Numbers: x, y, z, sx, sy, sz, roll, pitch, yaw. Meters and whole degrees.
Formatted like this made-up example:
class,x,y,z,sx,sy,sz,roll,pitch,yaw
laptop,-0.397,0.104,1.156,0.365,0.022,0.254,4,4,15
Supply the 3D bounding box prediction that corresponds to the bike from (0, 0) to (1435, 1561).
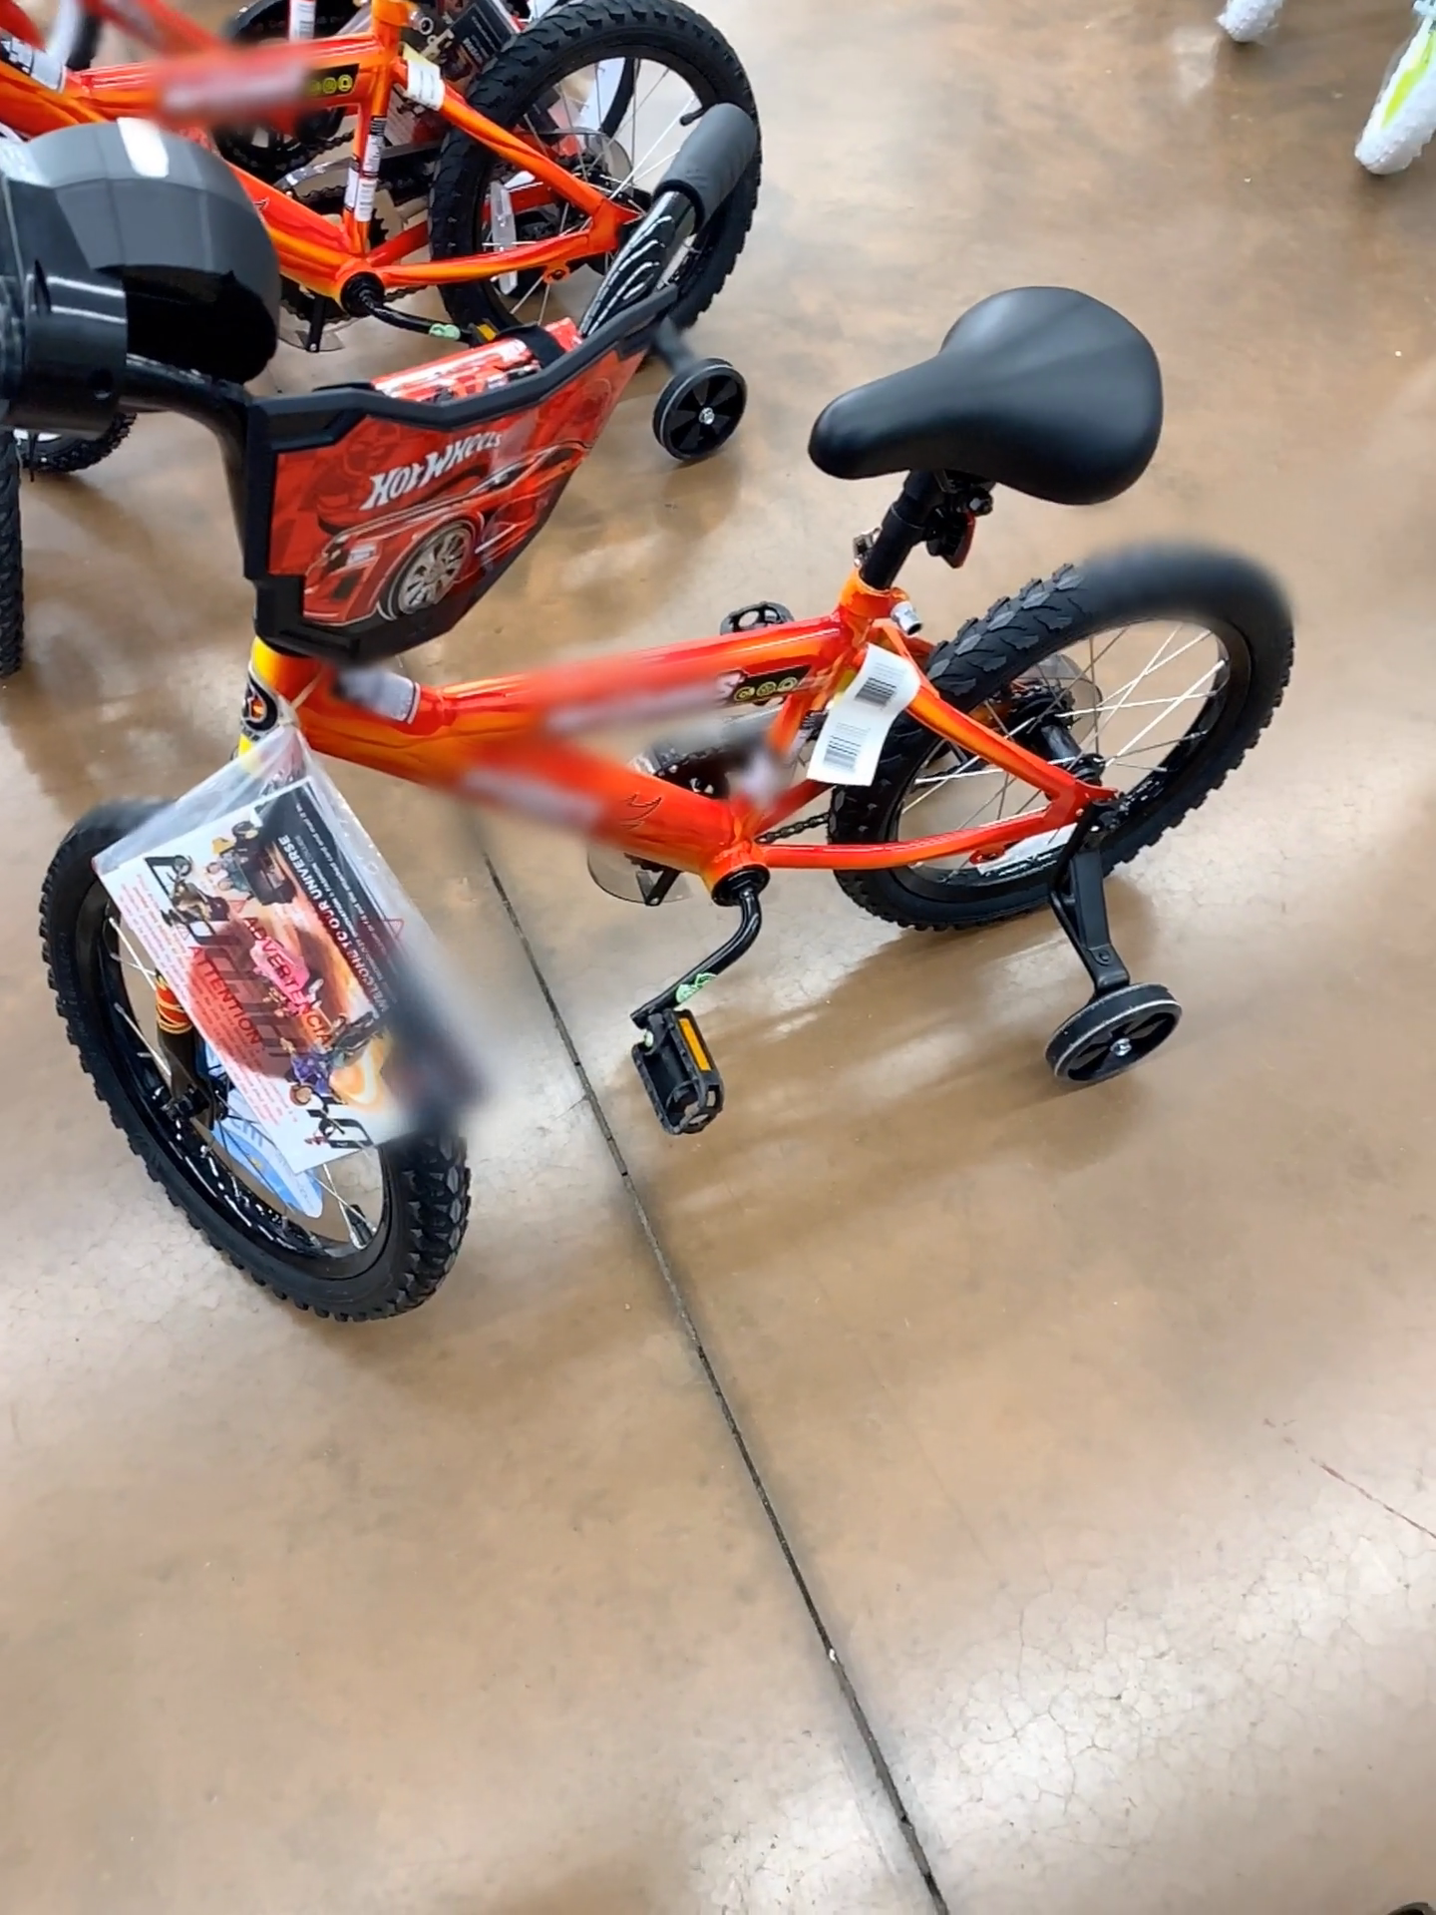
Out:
class,x,y,z,sx,sy,sz,roll,pitch,yaw
bike,0.064,-0.147,1.000,0.740,0.825,0.511,-31,62,-14
